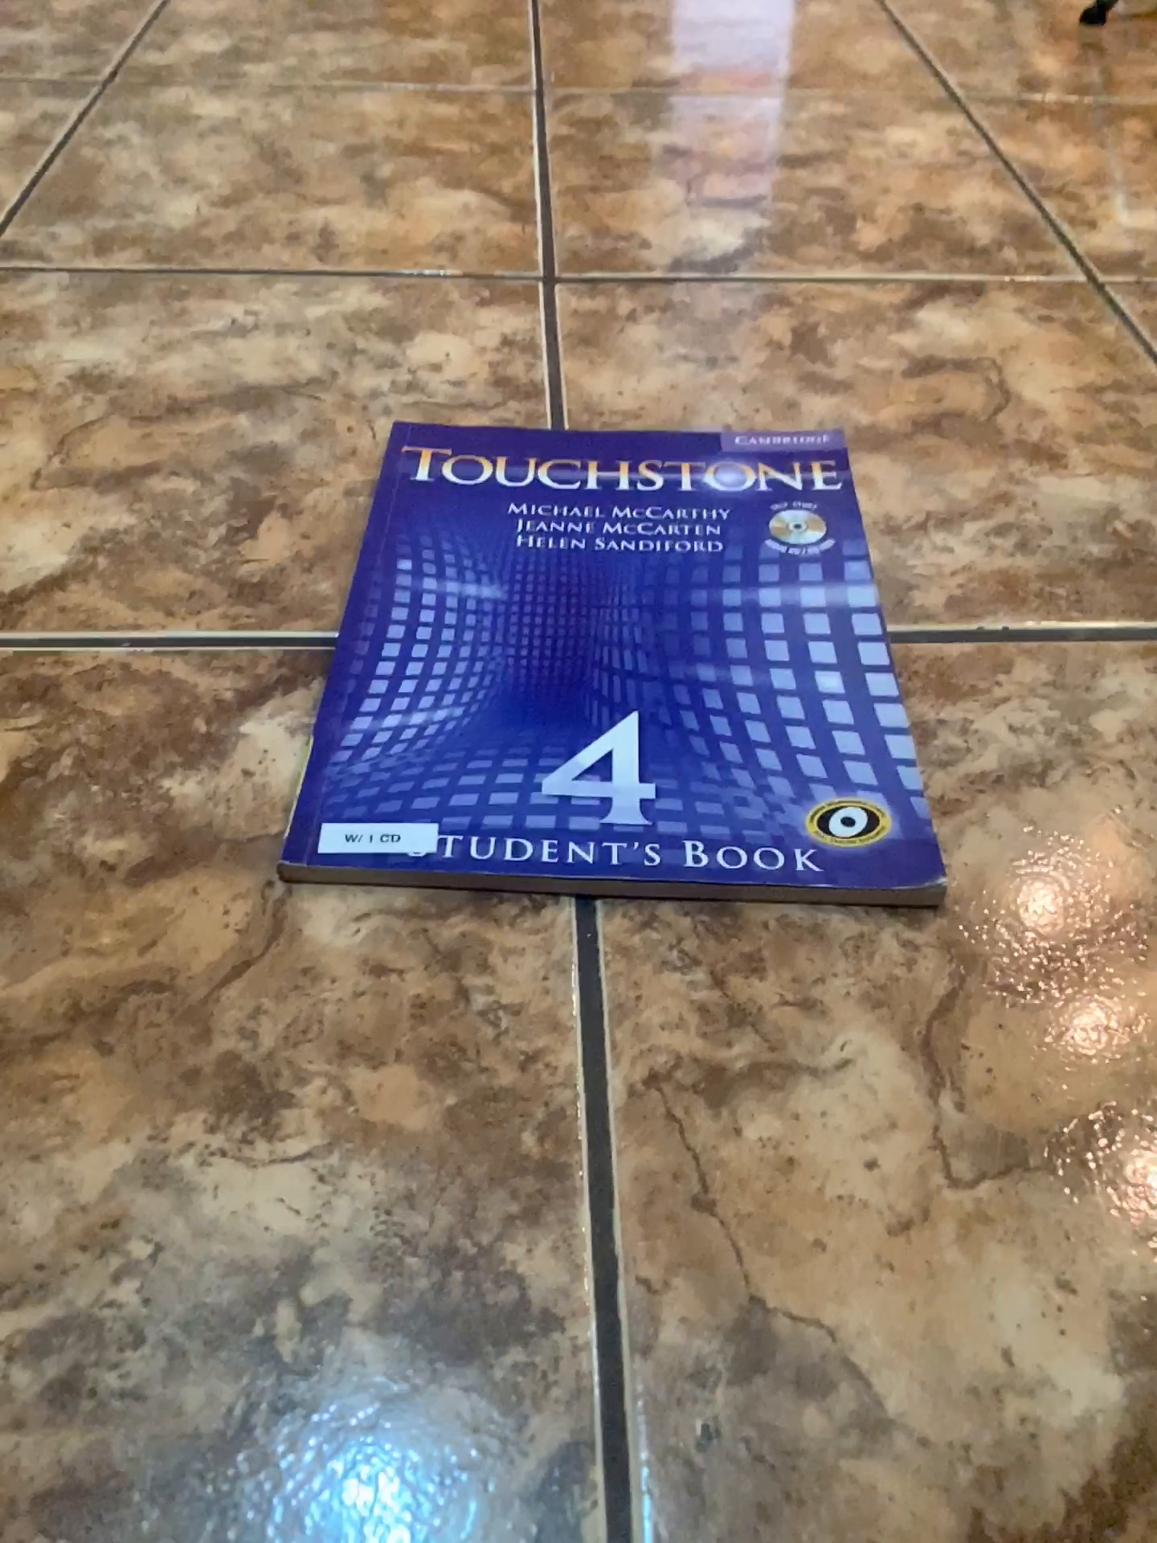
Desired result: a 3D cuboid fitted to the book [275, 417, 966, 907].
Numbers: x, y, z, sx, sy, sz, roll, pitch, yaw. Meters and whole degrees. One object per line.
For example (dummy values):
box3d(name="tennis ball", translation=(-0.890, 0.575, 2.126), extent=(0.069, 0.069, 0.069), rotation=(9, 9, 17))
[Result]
box3d(name="book", translation=(0.015, -0.062, 0.473), extent=(0.219, 0.010, 0.276), rotation=(2, 46, -1))
